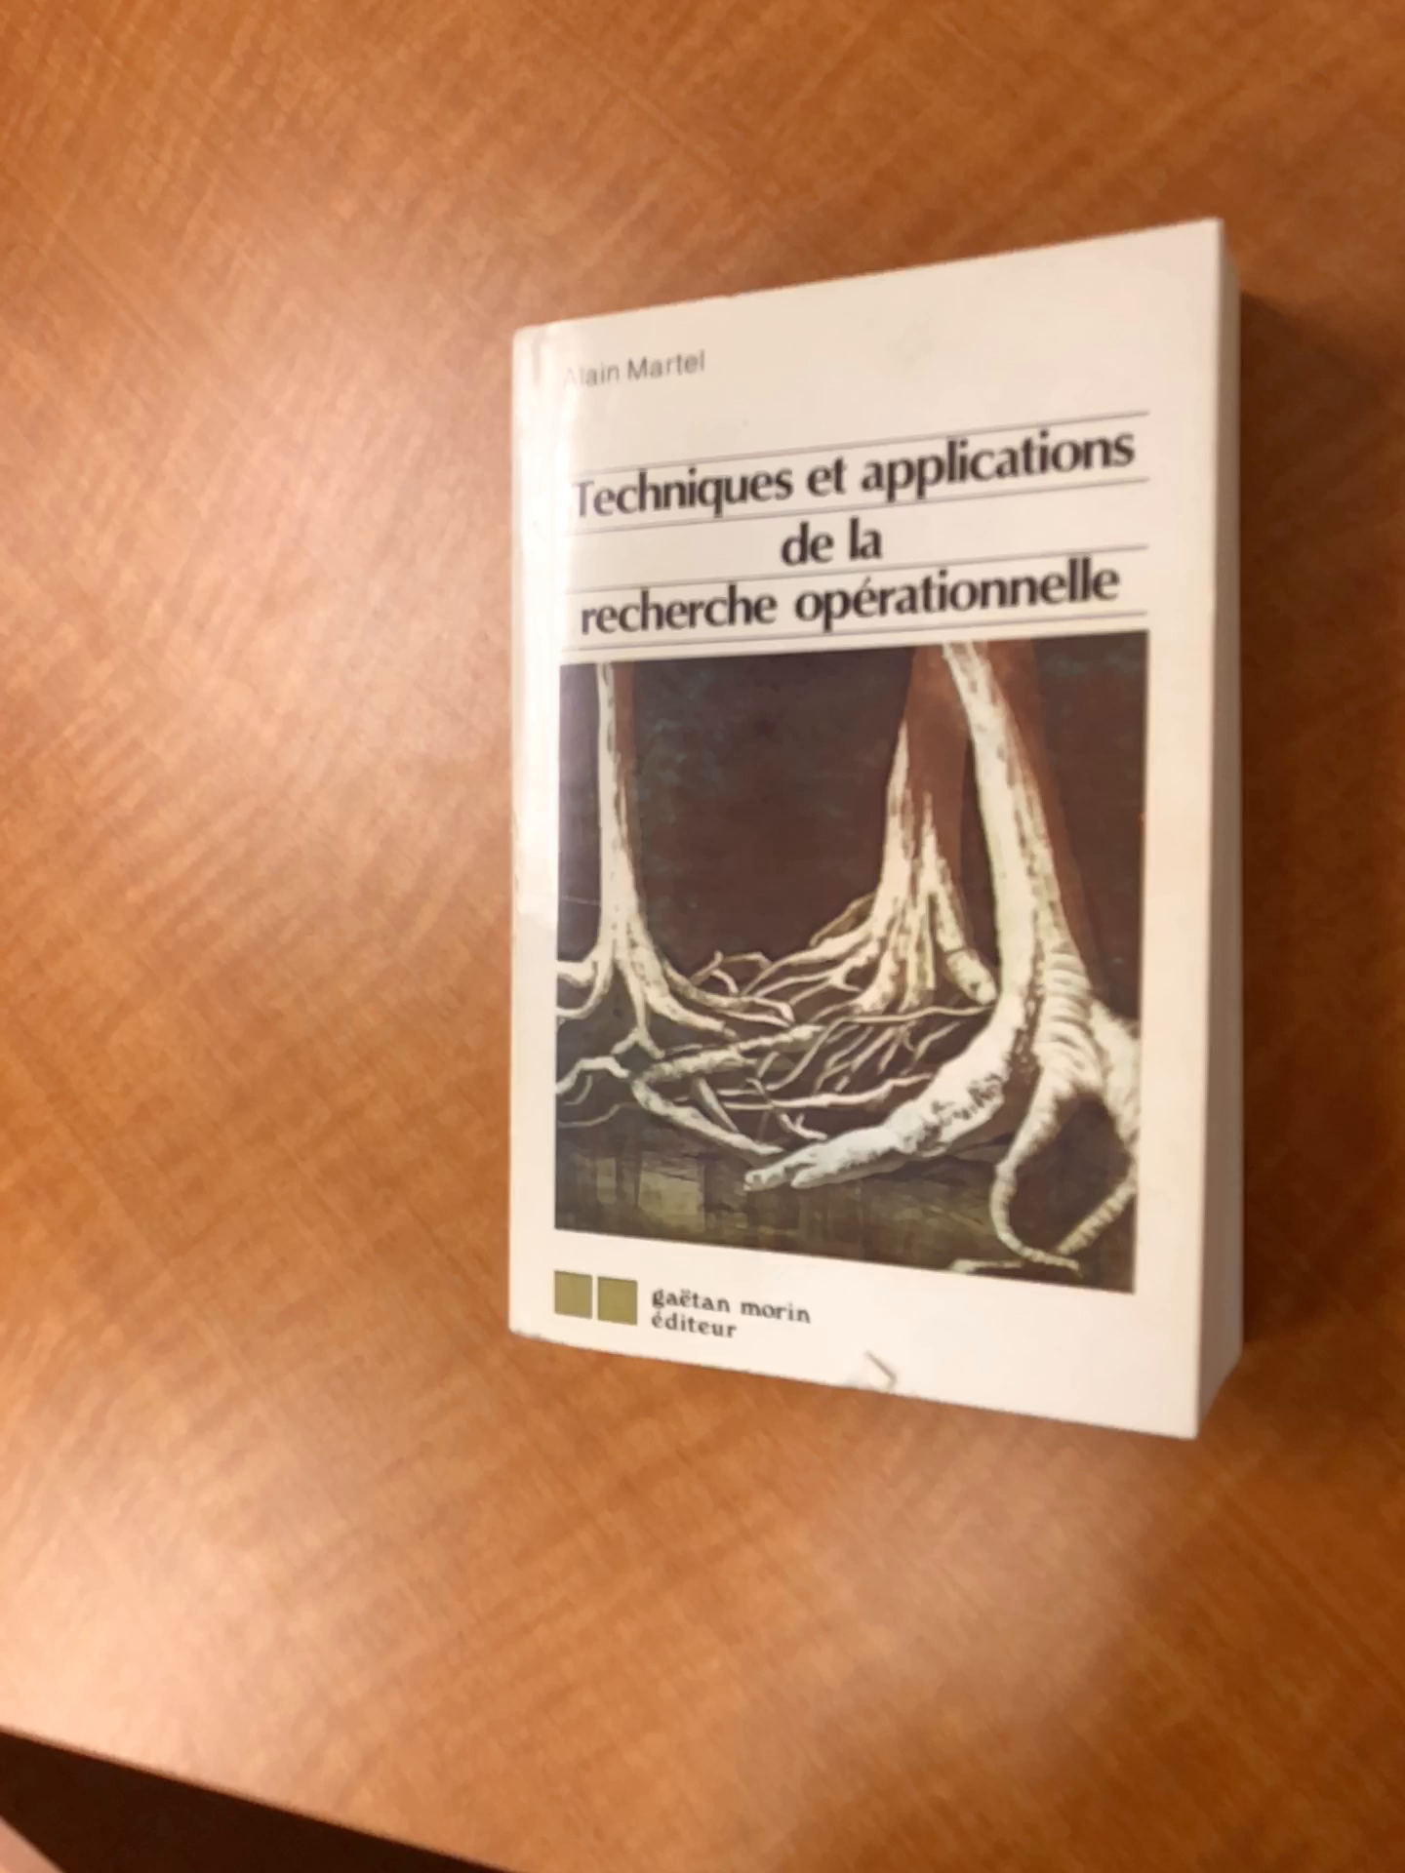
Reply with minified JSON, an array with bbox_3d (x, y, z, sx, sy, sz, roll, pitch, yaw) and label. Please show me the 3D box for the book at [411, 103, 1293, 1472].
[{"bbox_3d":[0.031,-0.026,0.324,0.170,0.070,0.230,1,91,24],"label":"book"}]
